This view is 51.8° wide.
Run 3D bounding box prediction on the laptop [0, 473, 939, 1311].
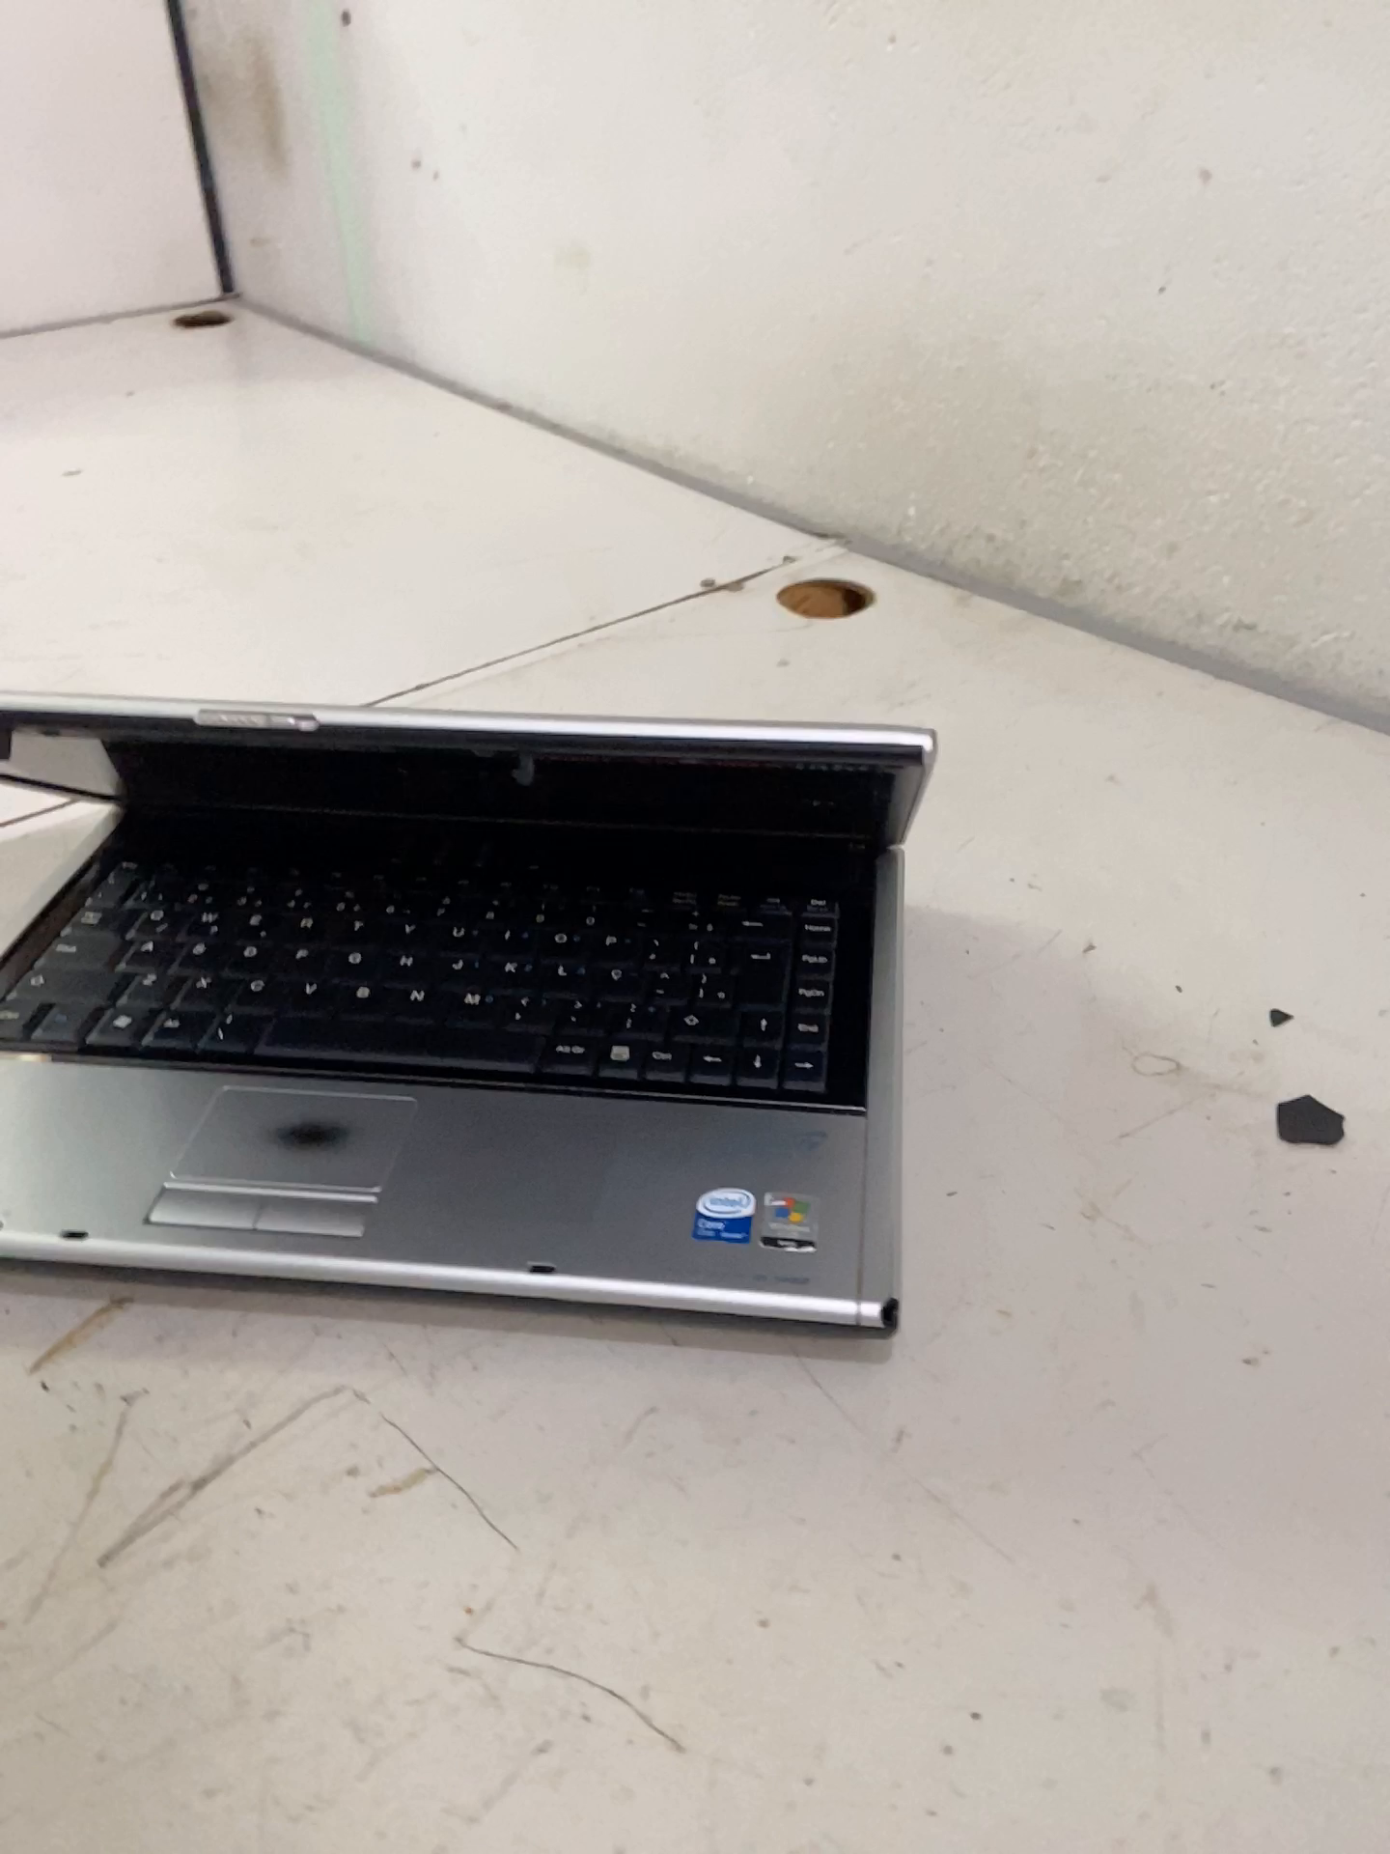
[{"bbox_3d":[-0.094,-0.032,0.439,0.319,0.144,0.228,3,35,7],"label":"laptop"}]
